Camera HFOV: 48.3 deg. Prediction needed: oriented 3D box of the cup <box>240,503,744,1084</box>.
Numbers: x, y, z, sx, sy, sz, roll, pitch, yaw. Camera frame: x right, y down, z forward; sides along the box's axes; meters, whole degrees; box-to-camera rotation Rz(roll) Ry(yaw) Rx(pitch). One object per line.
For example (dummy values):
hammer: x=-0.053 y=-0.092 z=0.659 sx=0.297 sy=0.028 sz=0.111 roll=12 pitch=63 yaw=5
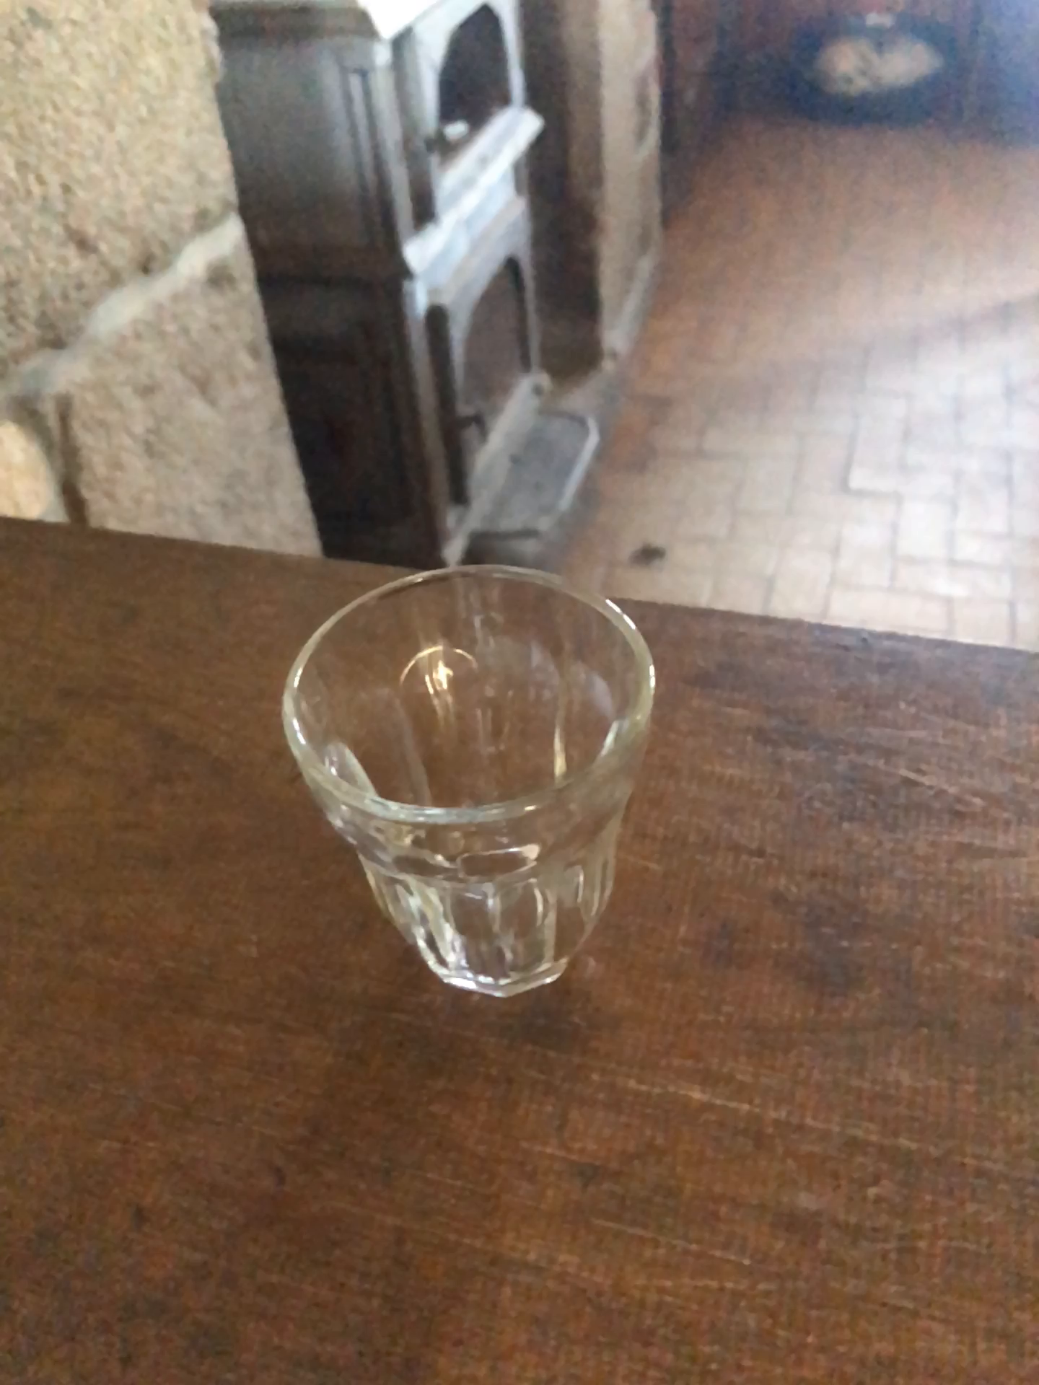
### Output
cup: x=-0.006 y=0.020 z=0.247 sx=0.080 sy=0.080 sz=0.070 roll=-15 pitch=43 yaw=-10
